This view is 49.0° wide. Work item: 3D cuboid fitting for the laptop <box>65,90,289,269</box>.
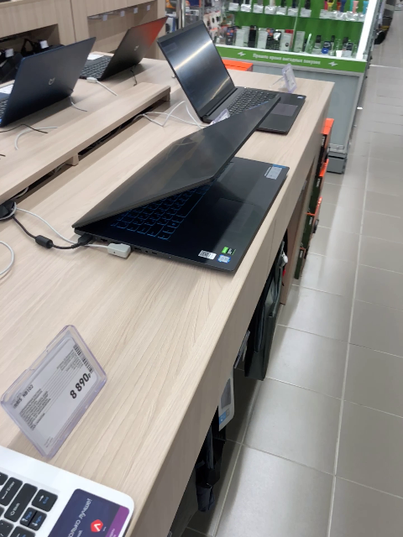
[{"bbox_3d":[-0.015,-0.194,0.813,0.271,0.129,0.391,14,37,14],"label":"laptop"}]
